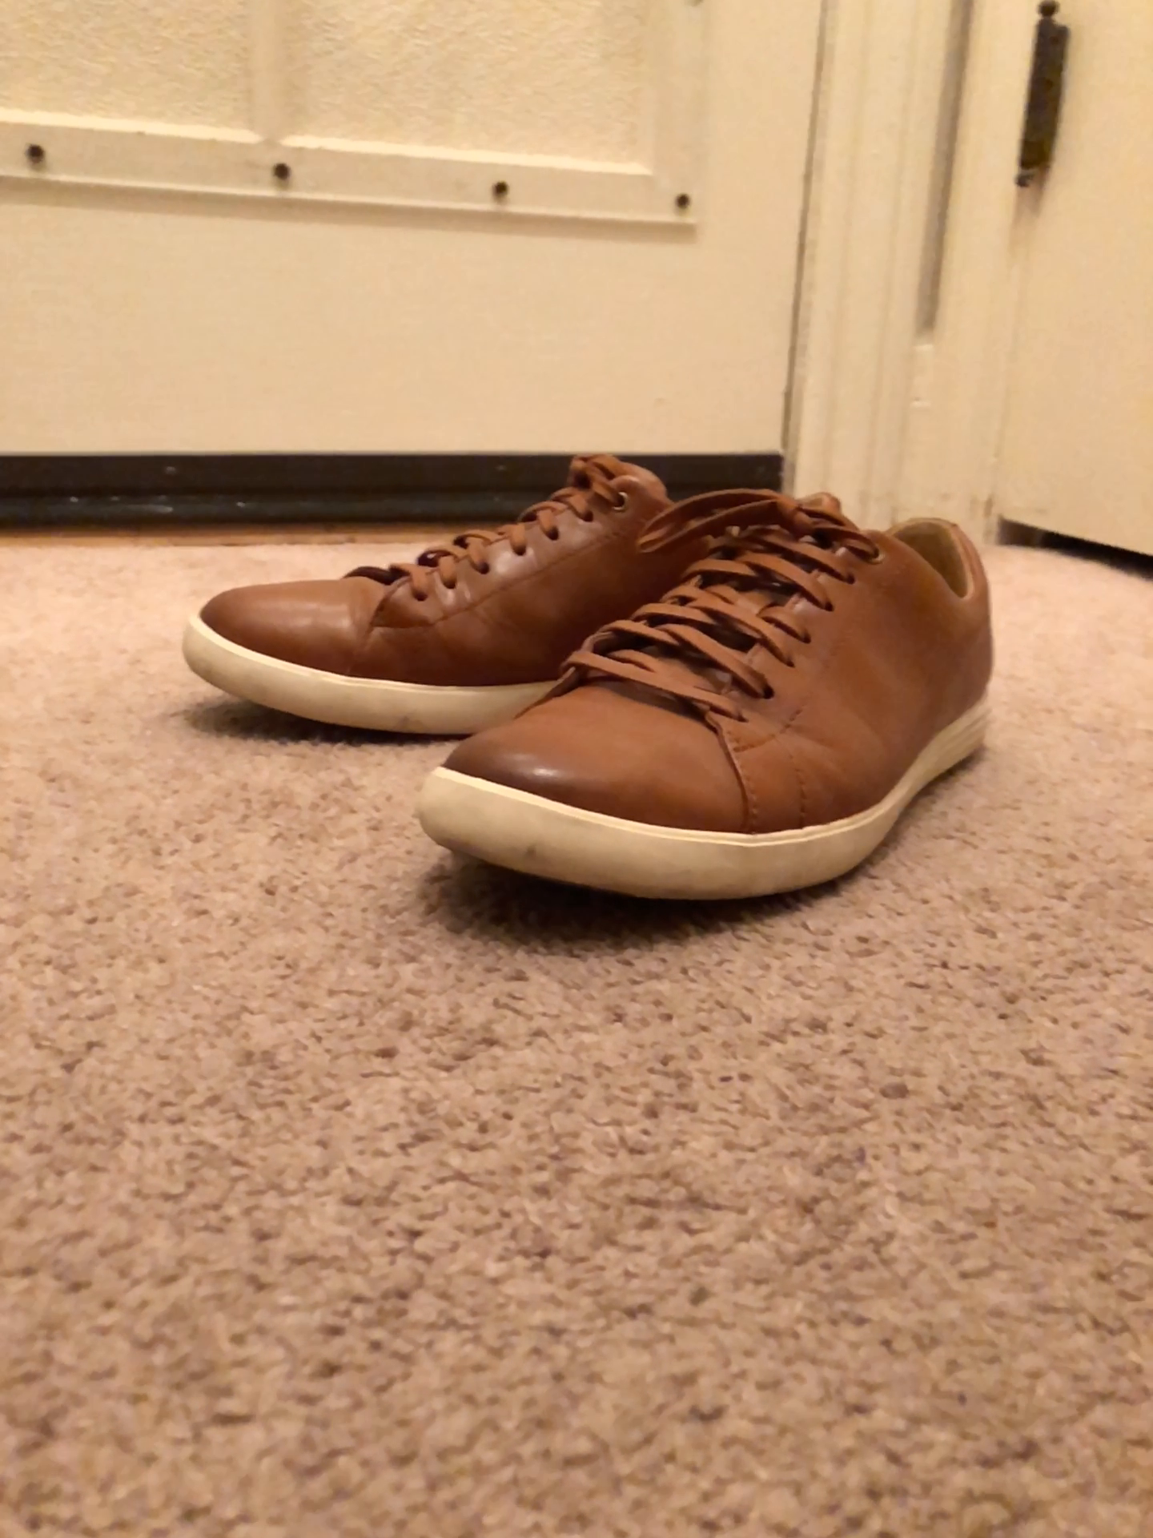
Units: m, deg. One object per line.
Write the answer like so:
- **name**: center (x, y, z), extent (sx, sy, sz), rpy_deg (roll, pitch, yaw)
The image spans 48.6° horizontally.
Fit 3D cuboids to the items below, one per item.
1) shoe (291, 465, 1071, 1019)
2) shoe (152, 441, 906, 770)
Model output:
- **shoe**: center (0.055, -0.037, 0.422), extent (0.117, 0.100, 0.286), rpy_deg (15, 22, 33)
- **shoe**: center (-0.021, -0.079, 0.537), extent (0.285, 0.102, 0.118), rpy_deg (-5, 20, -22)
